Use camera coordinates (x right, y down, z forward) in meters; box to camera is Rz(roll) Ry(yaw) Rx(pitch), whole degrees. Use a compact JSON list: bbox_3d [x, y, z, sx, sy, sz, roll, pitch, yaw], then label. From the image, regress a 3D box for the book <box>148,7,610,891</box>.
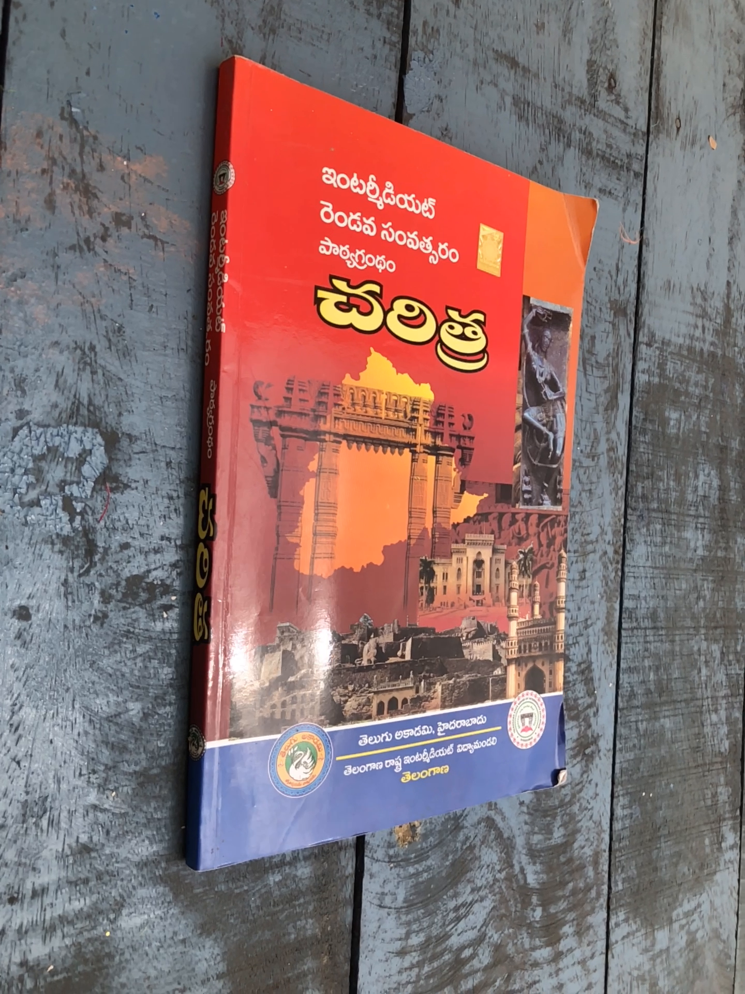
[{"bbox_3d":[0.017,-0.012,0.326,0.191,0.040,0.270,4,87,-39],"label":"book"}]
